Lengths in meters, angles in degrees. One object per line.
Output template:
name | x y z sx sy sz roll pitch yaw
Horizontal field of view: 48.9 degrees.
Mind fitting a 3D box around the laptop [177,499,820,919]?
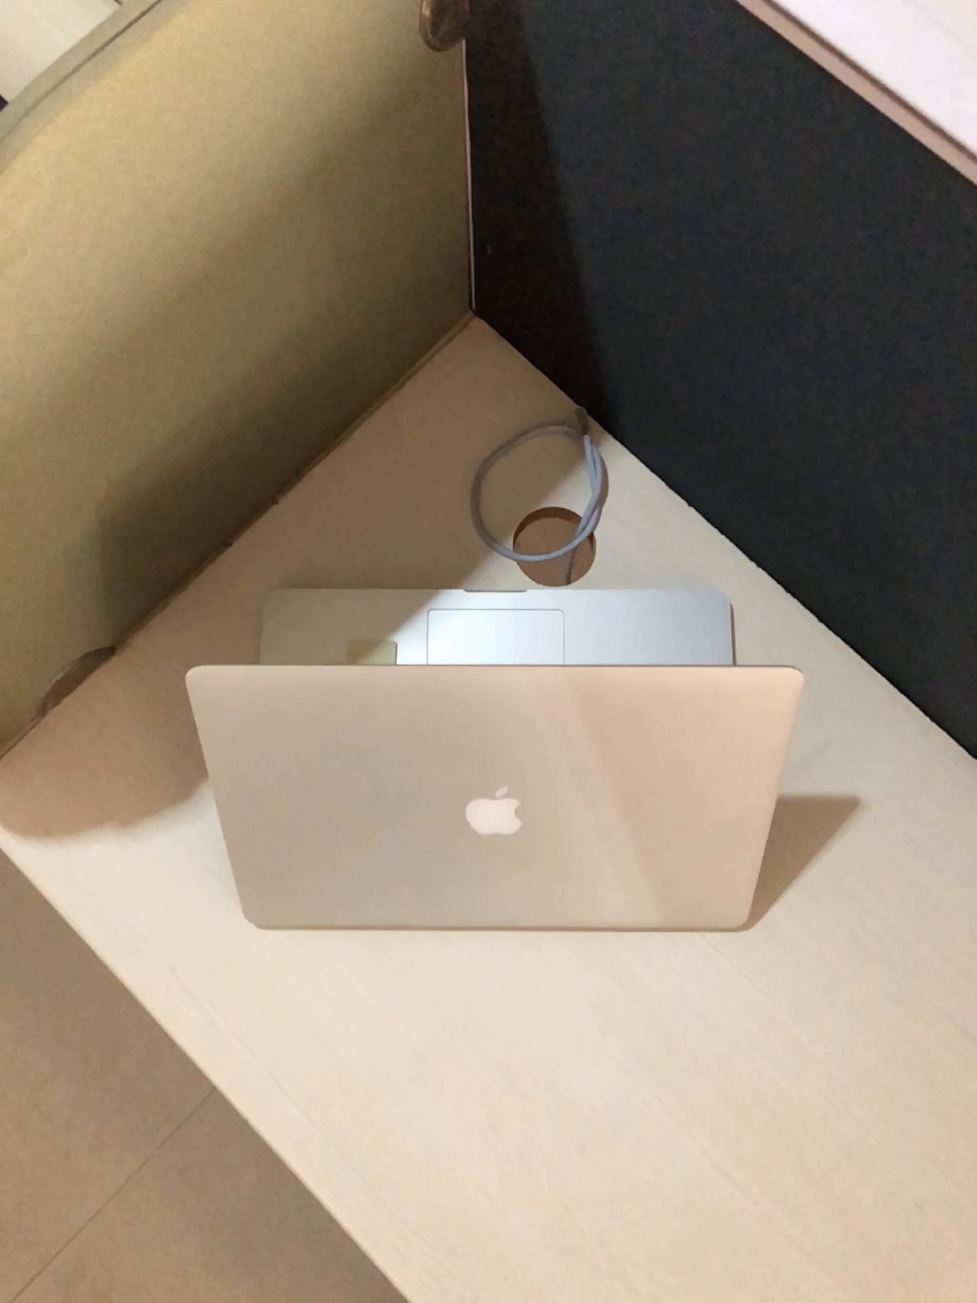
laptop | 0.006 0.050 0.694 0.343 0.199 0.234 0 77 0
